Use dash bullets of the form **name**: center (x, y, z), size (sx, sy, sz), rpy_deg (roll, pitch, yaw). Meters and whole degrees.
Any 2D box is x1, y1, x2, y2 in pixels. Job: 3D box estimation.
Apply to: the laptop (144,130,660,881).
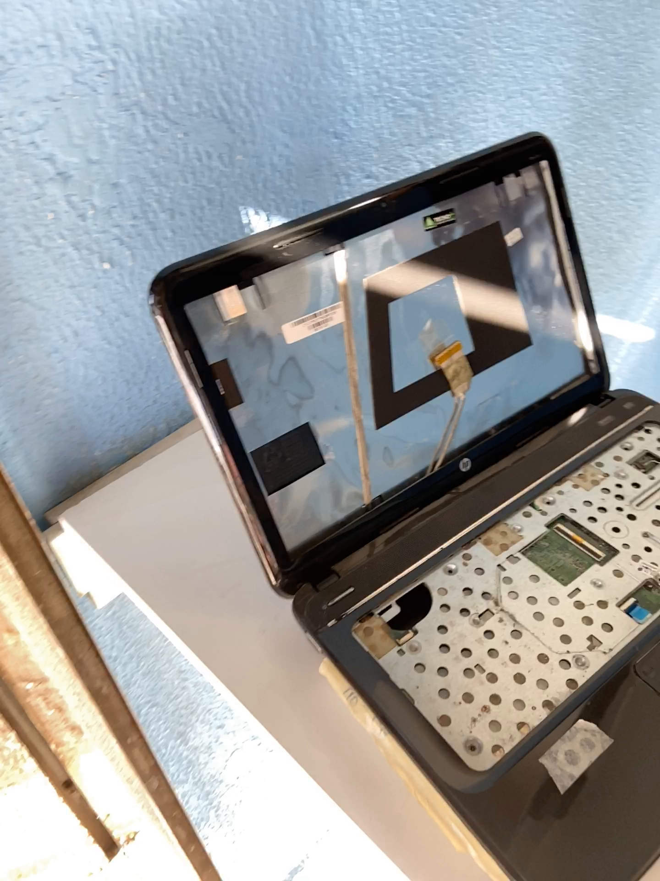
- **laptop**: center (0.133, -0.017, 0.405), size (0.335, 0.186, 0.325), rpy_deg (-28, 43, -24)
